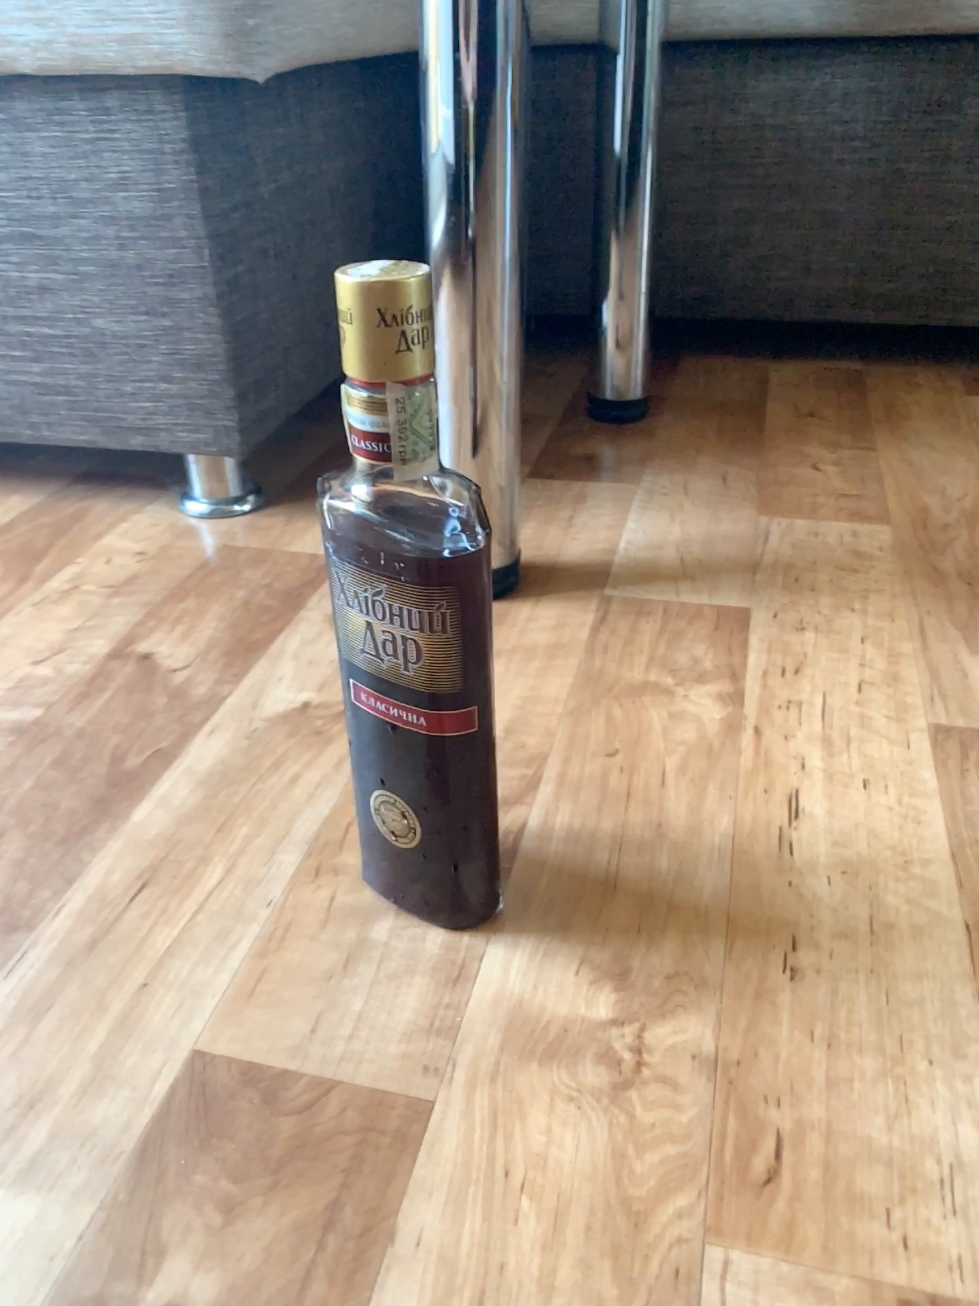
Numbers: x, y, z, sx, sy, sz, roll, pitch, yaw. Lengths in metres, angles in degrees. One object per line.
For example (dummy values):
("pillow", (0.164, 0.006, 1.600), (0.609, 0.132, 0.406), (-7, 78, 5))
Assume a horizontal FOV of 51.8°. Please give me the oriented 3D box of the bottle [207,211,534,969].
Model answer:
("bottle", (-0.034, -0.015, 0.345), (0.050, 0.239, 0.090), (-23, 37, -31))
